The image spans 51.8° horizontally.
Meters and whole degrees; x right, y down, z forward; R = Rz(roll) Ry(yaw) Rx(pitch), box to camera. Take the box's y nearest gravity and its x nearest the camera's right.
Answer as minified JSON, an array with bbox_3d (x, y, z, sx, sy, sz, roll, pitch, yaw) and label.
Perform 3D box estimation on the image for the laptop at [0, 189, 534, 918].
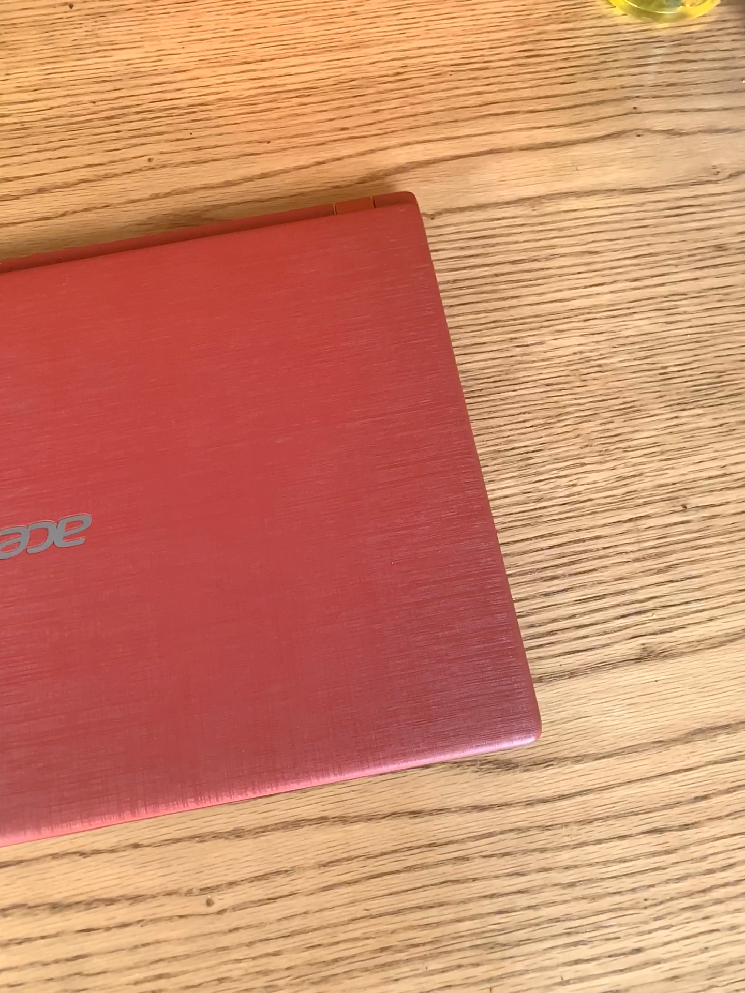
[{"bbox_3d":[-0.140,0.010,0.314,0.362,0.013,0.236,-10,75,0],"label":"laptop"}]
